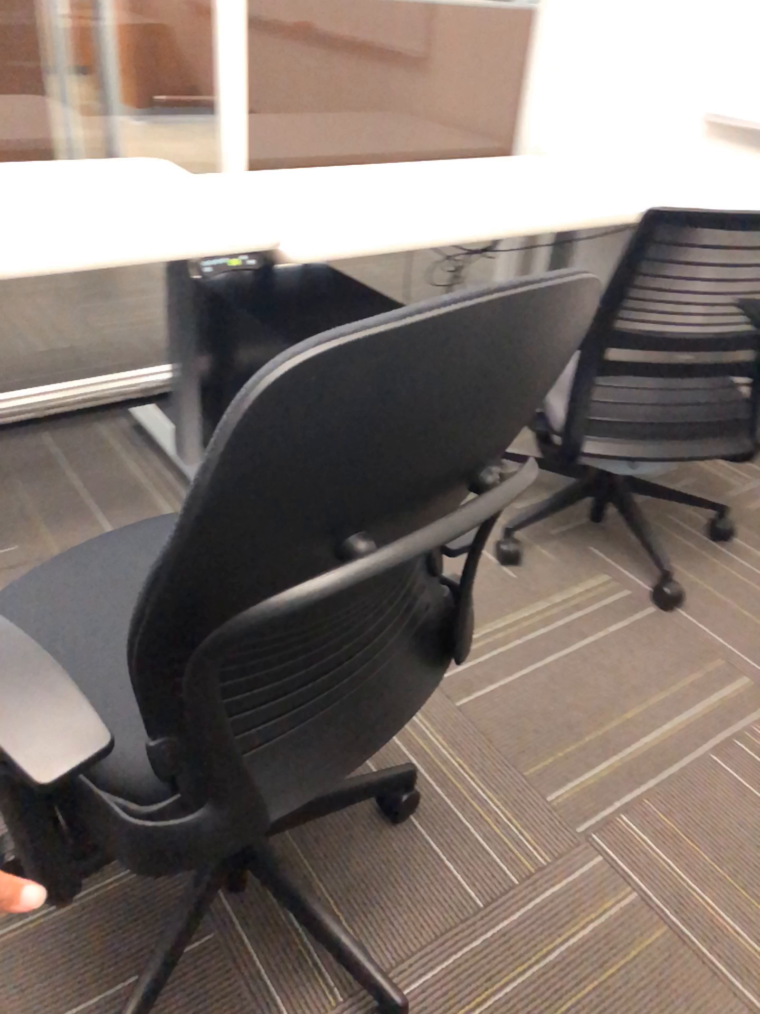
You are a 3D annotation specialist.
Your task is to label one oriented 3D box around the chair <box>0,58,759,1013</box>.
[{"bbox_3d":[-0.214,0.093,1.011,0.832,1.034,0.732,29,39,33],"label":"chair"}]
